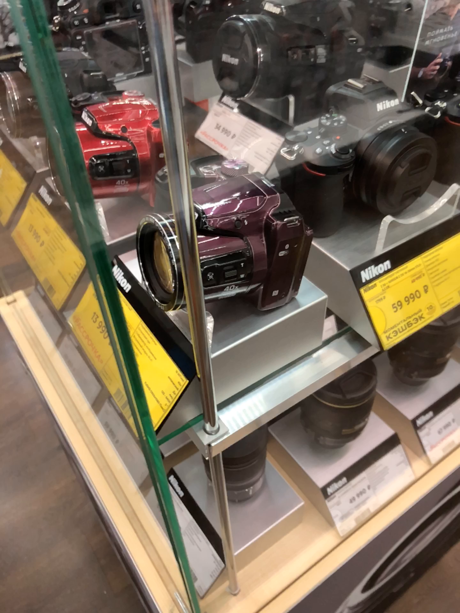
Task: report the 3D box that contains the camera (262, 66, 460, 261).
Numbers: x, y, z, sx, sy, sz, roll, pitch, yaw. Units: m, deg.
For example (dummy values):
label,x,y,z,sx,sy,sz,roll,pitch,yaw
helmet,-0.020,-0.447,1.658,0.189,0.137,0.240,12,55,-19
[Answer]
label,x,y,z,sx,sy,sz,roll,pitch,yaw
camera,0.109,-0.119,0.406,0.133,0.084,0.100,-24,48,-21

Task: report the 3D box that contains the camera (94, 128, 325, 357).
label,x,y,z,sx,sy,sz,roll,pitch,yaw
camera,-0.015,-0.048,0.341,0.100,0.080,0.110,-24,48,-21
